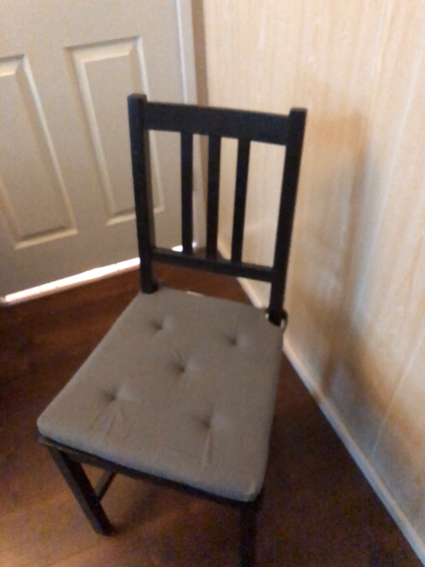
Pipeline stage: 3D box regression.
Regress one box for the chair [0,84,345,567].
[{"bbox_3d":[-0.058,0.148,0.921,0.441,0.834,0.513,11,45,14],"label":"chair"}]
